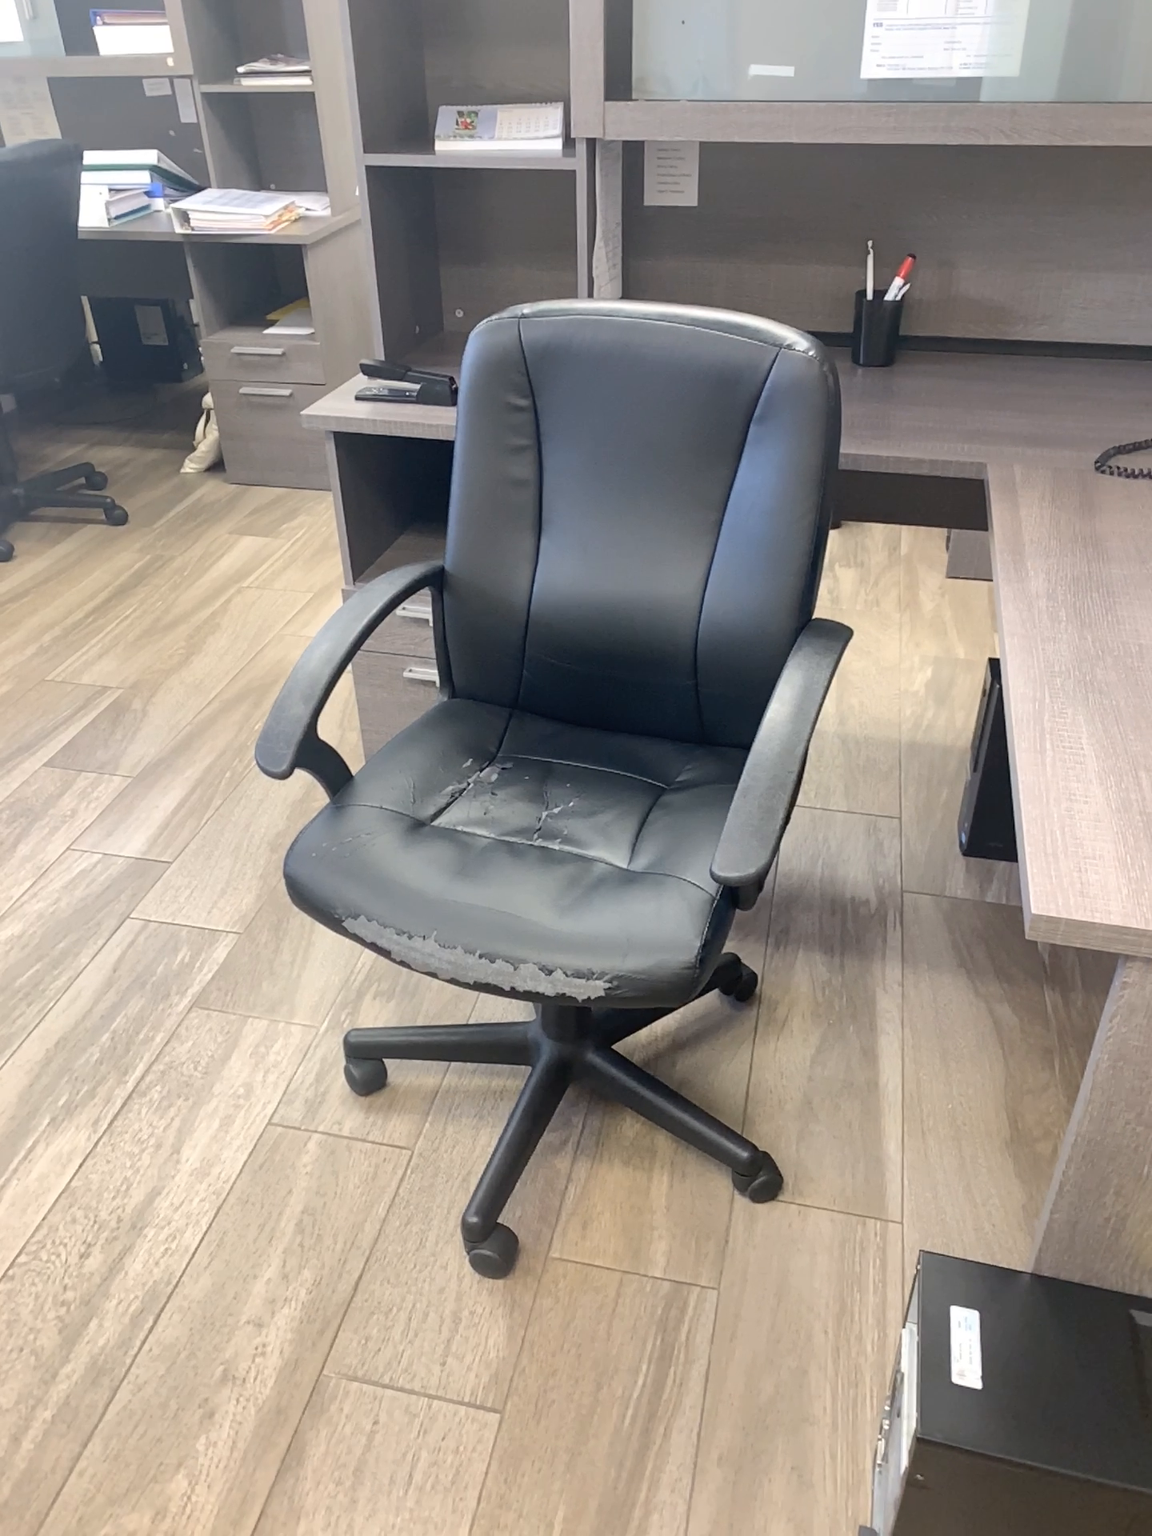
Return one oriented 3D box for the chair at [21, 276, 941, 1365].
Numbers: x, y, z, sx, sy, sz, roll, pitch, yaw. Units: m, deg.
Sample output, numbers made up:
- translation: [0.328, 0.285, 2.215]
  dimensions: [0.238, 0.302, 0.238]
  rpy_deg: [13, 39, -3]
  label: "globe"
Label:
- translation: [-0.017, 0.019, 1.335]
  dimensions: [0.650, 0.945, 0.643]
  rpy_deg: [10, 35, 16]
  label: "chair"
